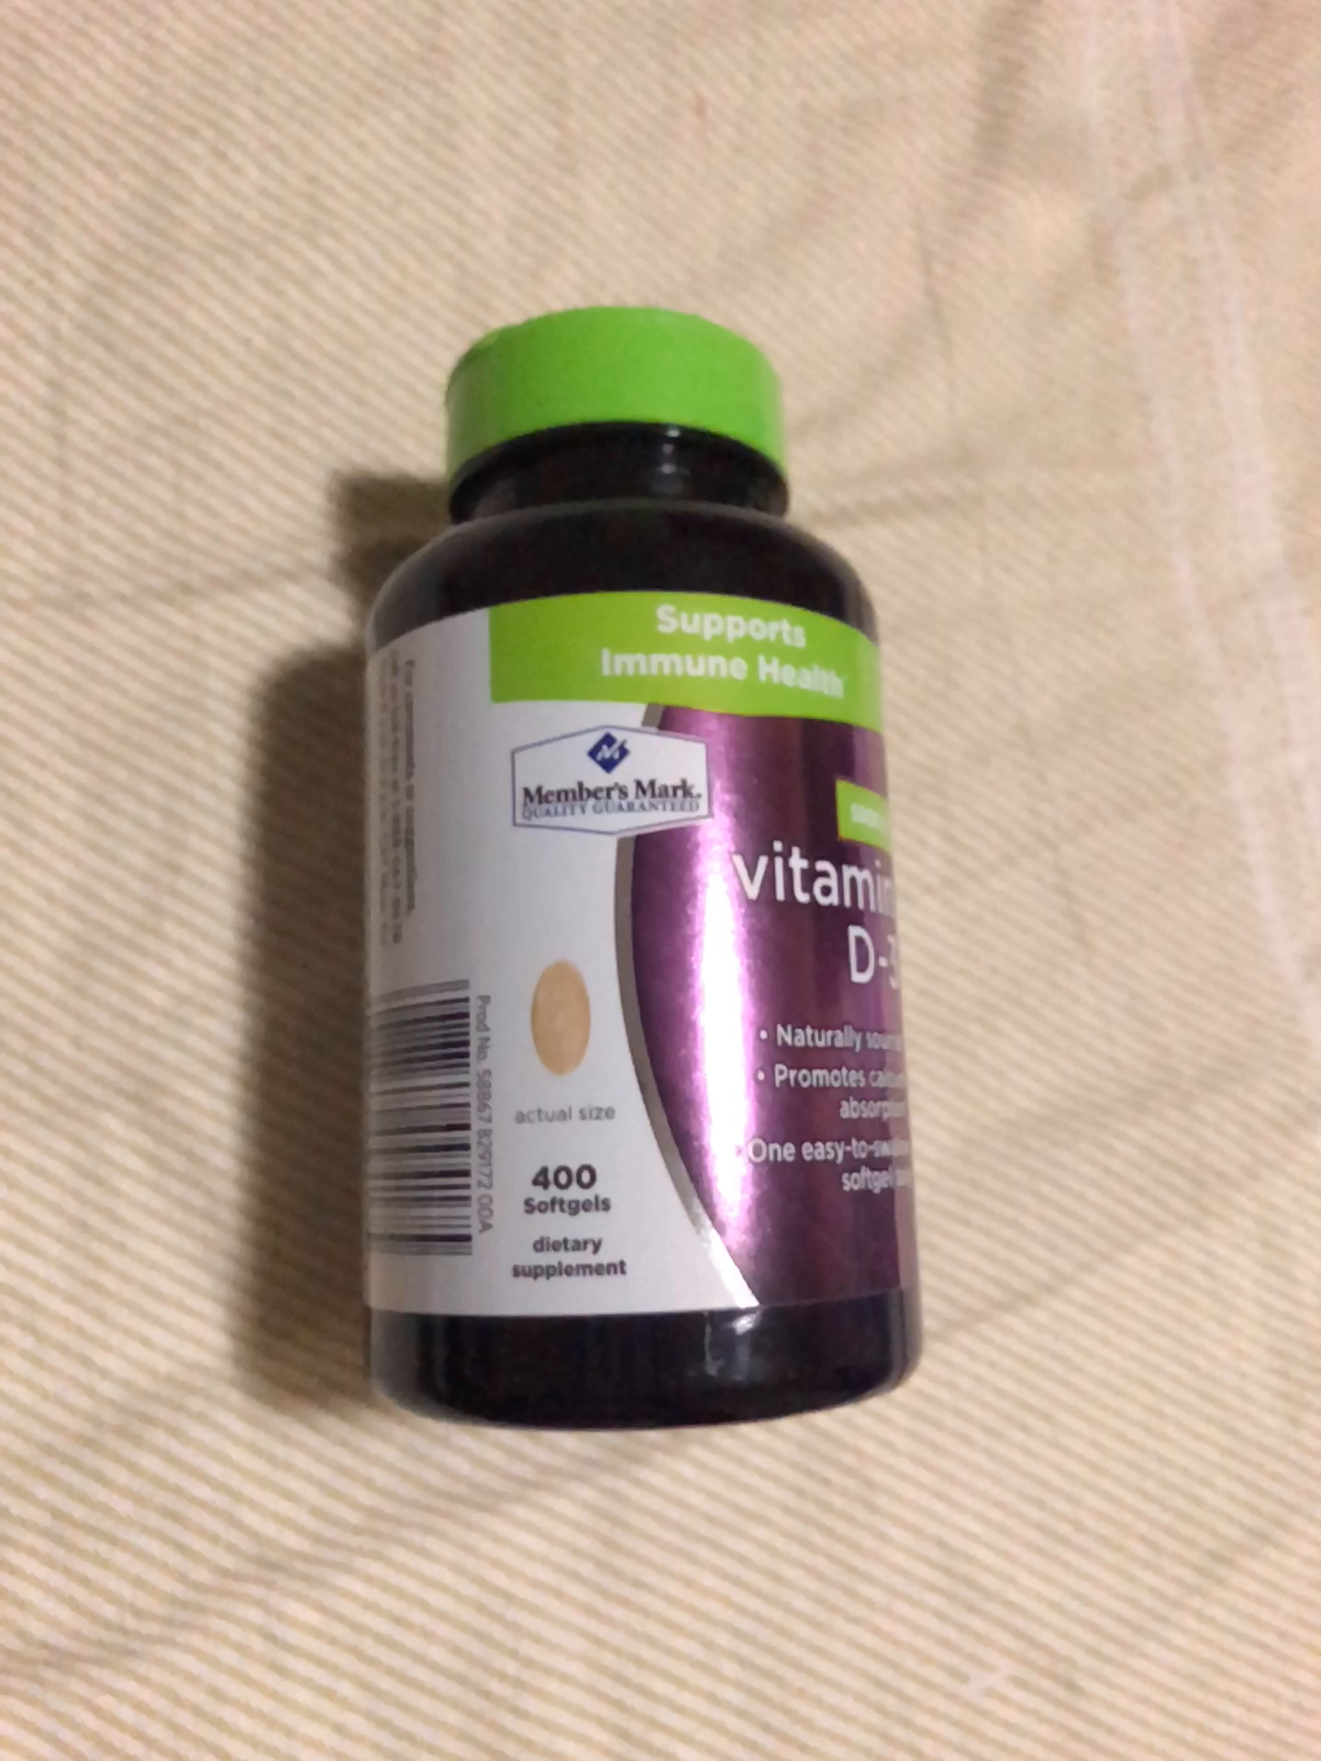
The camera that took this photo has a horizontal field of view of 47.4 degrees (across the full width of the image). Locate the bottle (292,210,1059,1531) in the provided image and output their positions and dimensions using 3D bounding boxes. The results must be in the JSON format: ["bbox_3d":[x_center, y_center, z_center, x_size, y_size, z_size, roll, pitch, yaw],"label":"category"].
[{"bbox_3d":[-0.004,0.001,0.163,0.060,0.060,0.110,2,81,-24],"label":"bottle"}]
